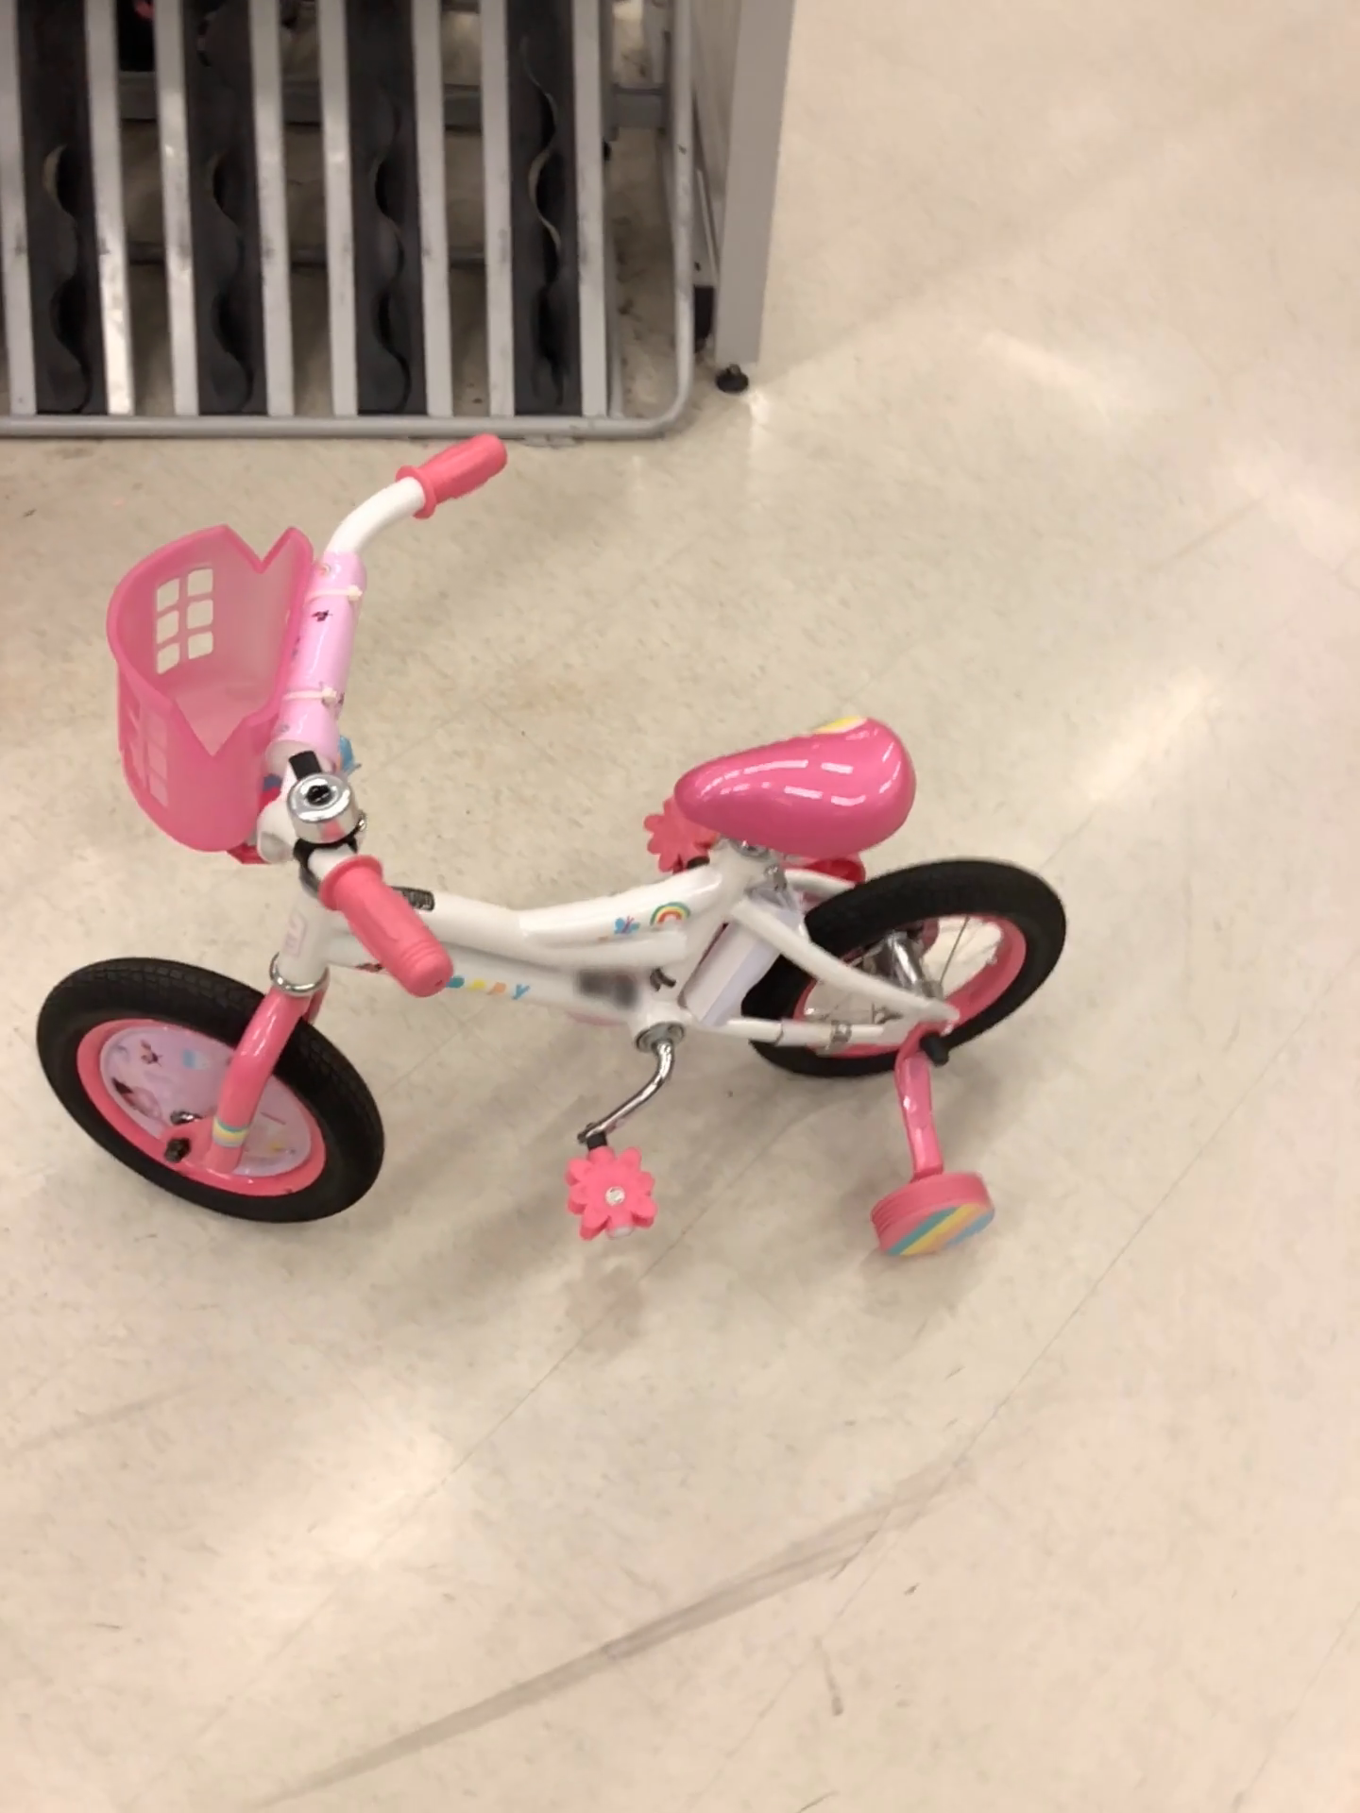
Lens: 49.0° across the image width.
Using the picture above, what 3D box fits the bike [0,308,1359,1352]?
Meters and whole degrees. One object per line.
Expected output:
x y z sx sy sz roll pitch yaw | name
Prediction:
-0.084 -0.023 1.189 0.878 0.632 0.458 -7 57 -6 | bike
